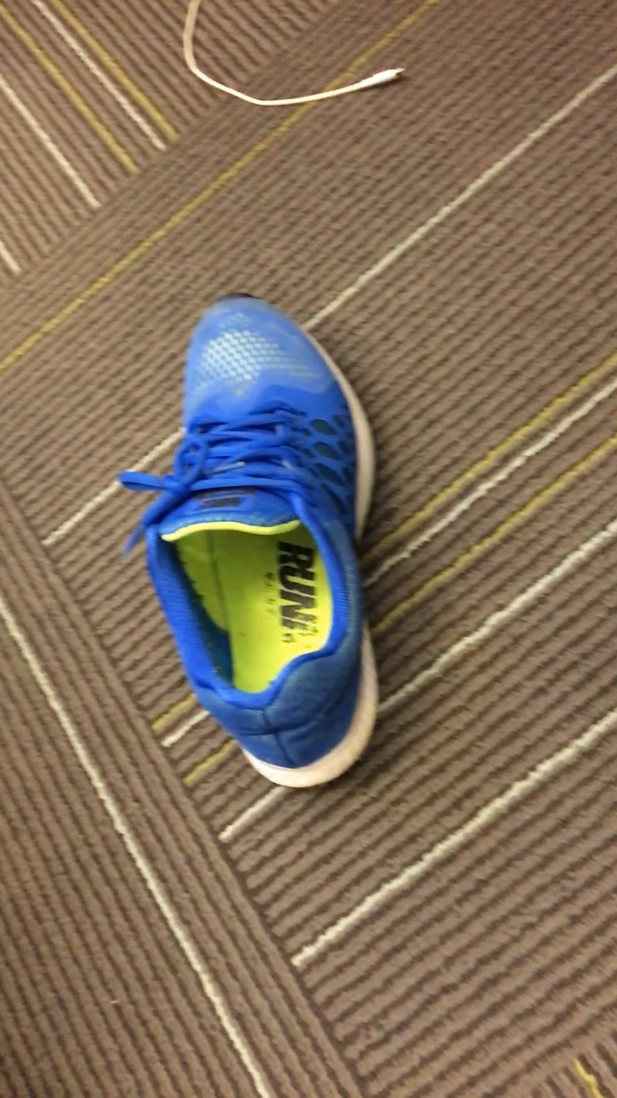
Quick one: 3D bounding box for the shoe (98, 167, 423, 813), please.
[{"bbox_3d":[-0.026,-0.022,0.509,0.110,0.150,0.310,-11,70,15],"label":"shoe"}]
